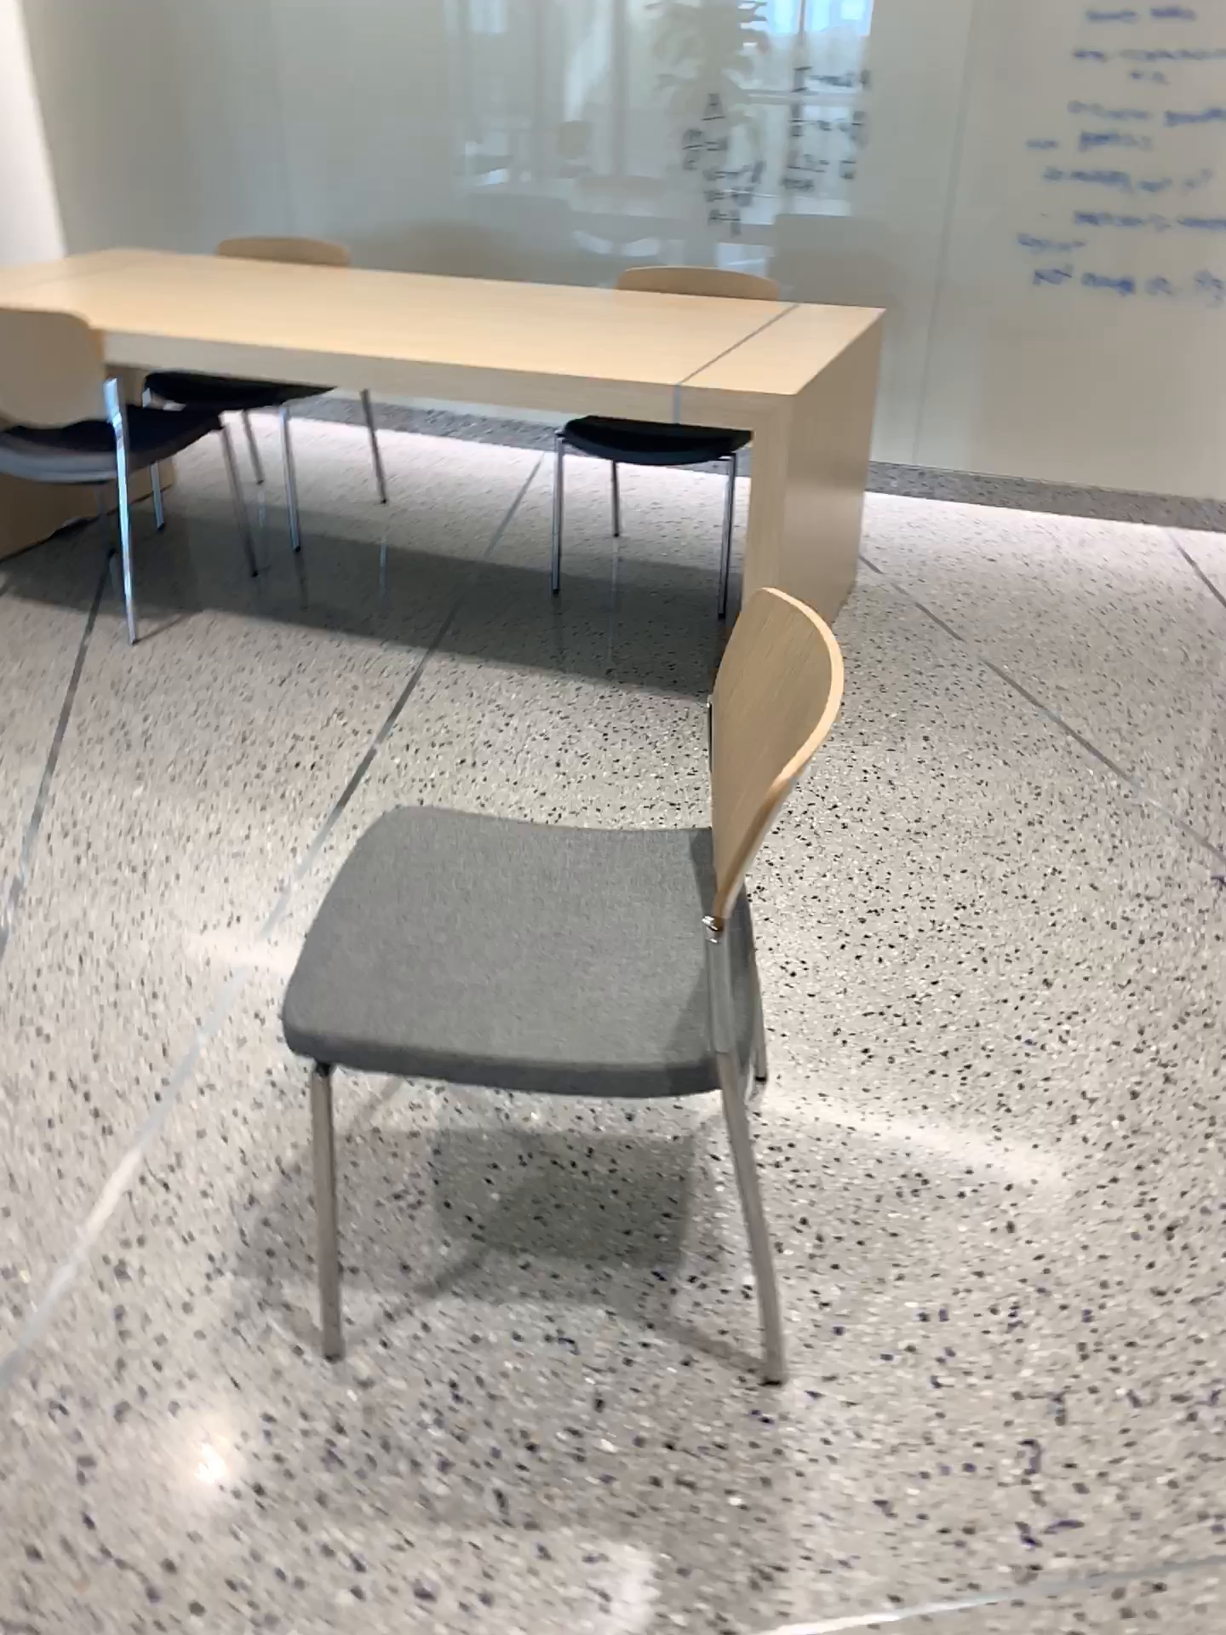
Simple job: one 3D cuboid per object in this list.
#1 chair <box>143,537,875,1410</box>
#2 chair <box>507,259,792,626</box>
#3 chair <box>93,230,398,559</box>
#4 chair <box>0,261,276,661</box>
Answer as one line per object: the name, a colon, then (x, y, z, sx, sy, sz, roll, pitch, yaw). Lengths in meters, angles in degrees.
chair: (-0.068, 0.157, 1.423, 0.591, 0.768, 0.542, 4, 31, 5)
chair: (0.101, -0.995, 3.254, 0.538, 0.749, 0.595, 12, 32, 17)
chair: (-1.034, -1.258, 3.675, 0.548, 0.768, 0.596, 9, 32, 13)
chair: (-1.280, -0.899, 3.081, 0.548, 0.768, 0.595, 12, 33, 17)
